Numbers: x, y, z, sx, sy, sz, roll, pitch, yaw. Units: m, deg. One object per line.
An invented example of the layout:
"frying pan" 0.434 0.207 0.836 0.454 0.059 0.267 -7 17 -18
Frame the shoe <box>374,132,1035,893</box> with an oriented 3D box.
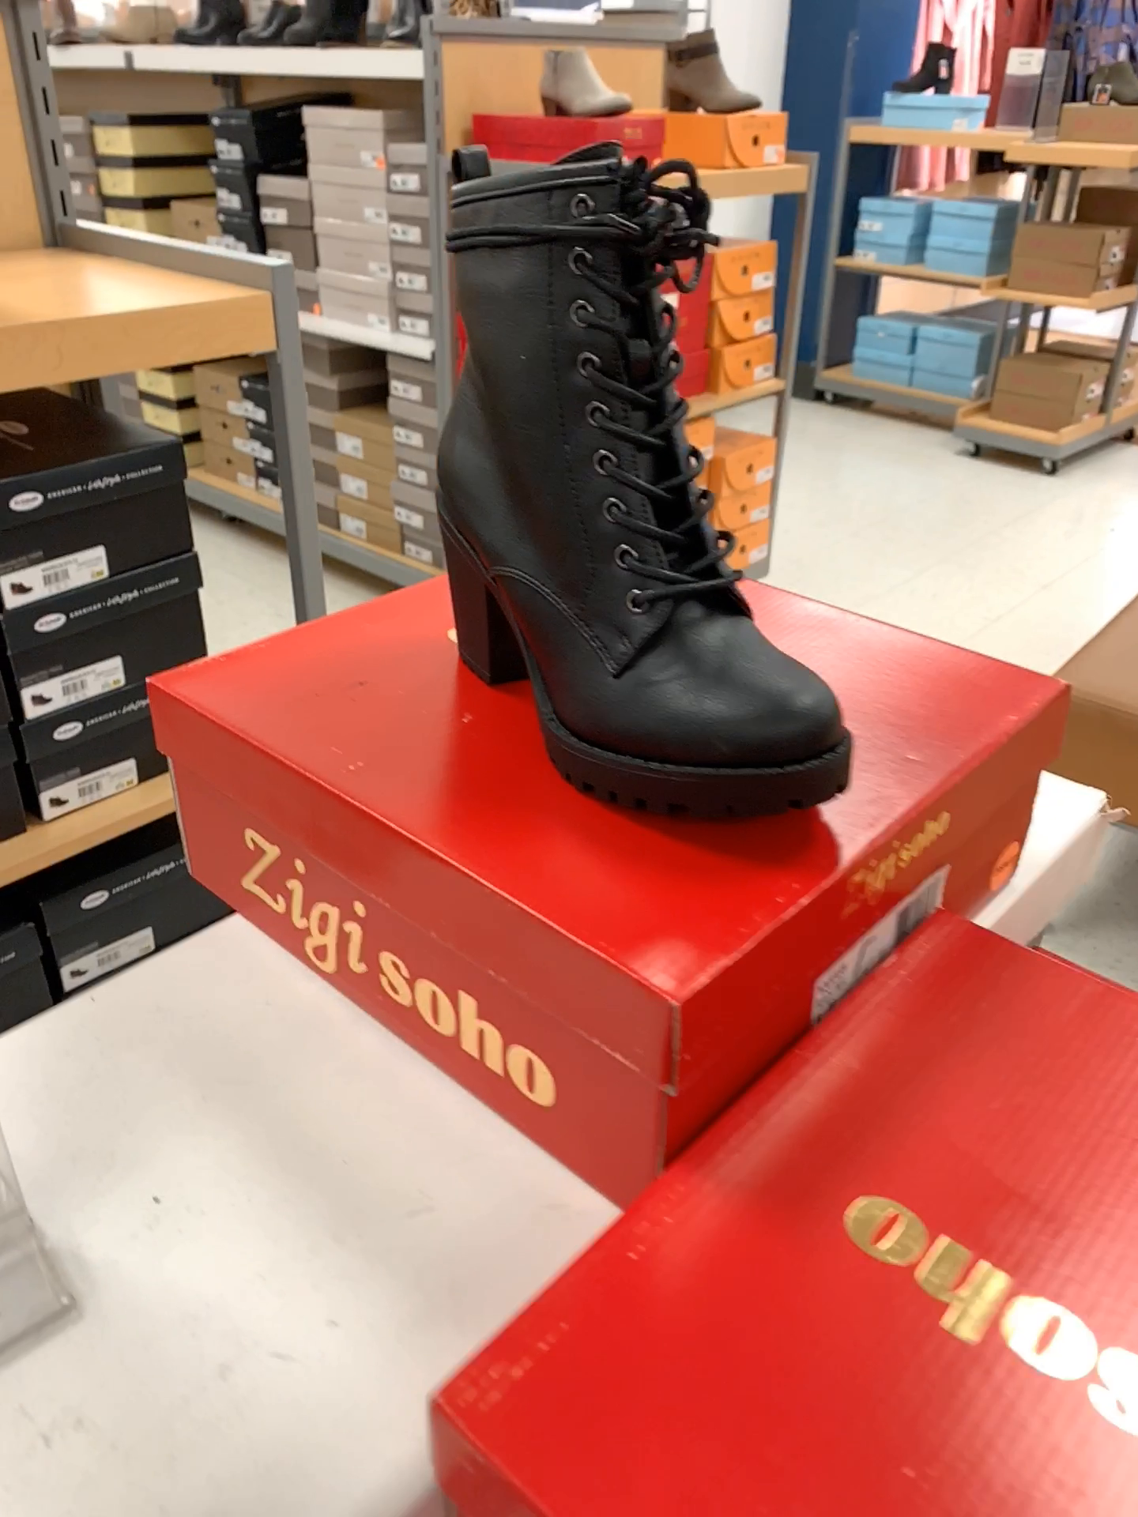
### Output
"shoe" 0.027 -0.101 0.411 0.092 0.203 0.201 -19 36 -31
